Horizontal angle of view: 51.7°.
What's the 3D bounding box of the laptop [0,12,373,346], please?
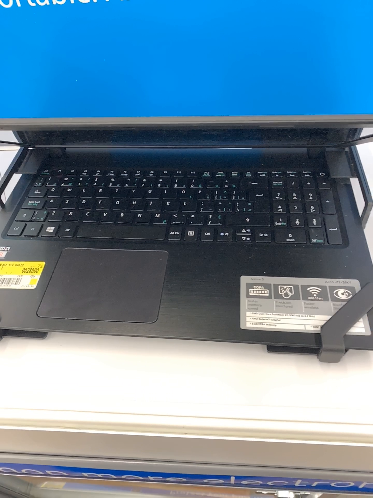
[{"bbox_3d":[-0.024,-0.067,0.323,0.364,0.137,0.222,2,53,6],"label":"laptop"}]
